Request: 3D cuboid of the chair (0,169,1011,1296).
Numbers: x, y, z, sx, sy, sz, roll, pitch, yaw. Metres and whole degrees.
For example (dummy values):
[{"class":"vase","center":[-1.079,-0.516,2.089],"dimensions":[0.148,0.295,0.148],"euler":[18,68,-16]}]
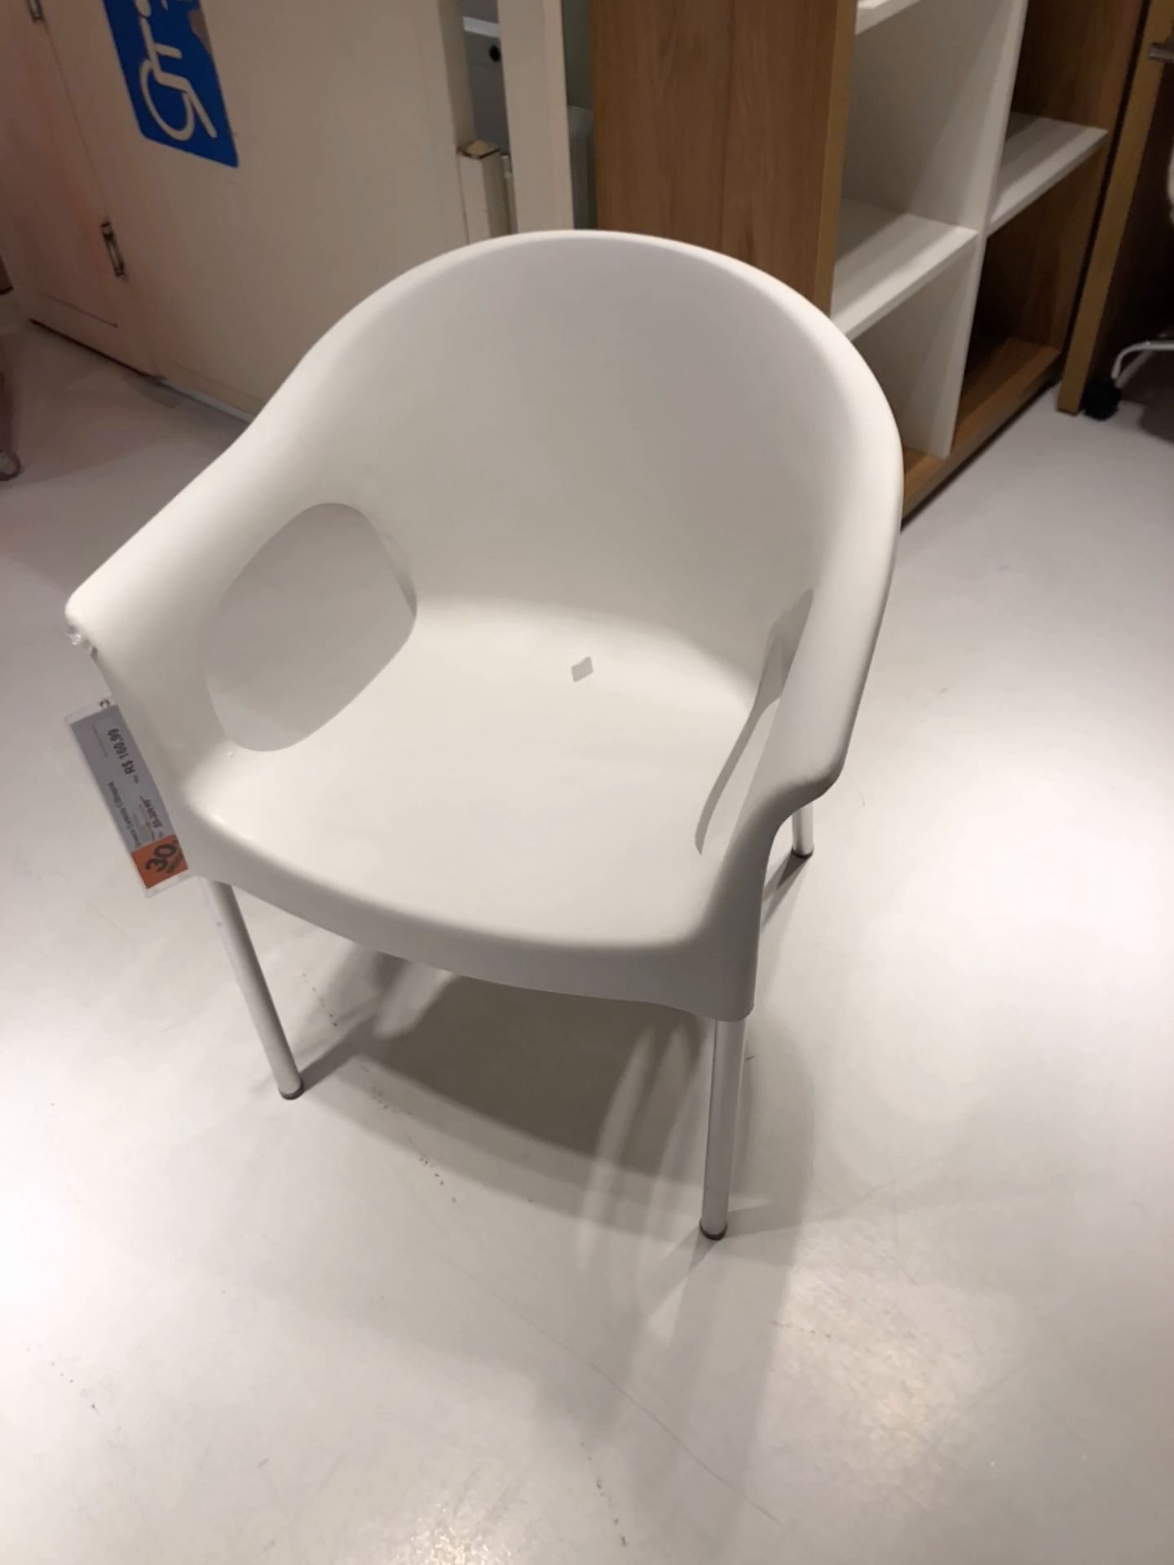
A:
[{"class":"chair","center":[-0.027,-0.057,1.229],"dimensions":[0.610,0.735,0.614],"euler":[14,49,18]}]
